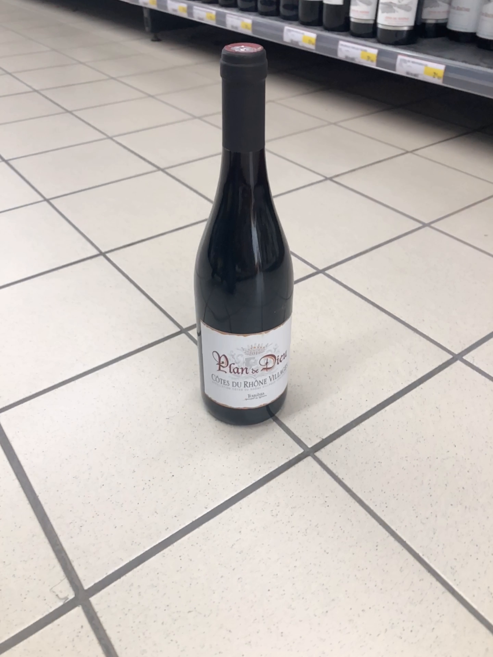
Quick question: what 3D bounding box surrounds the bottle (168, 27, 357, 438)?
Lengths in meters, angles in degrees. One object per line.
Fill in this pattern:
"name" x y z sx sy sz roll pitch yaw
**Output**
"bottle" 0.004 -0.058 0.414 0.100 0.288 0.101 0 37 0
